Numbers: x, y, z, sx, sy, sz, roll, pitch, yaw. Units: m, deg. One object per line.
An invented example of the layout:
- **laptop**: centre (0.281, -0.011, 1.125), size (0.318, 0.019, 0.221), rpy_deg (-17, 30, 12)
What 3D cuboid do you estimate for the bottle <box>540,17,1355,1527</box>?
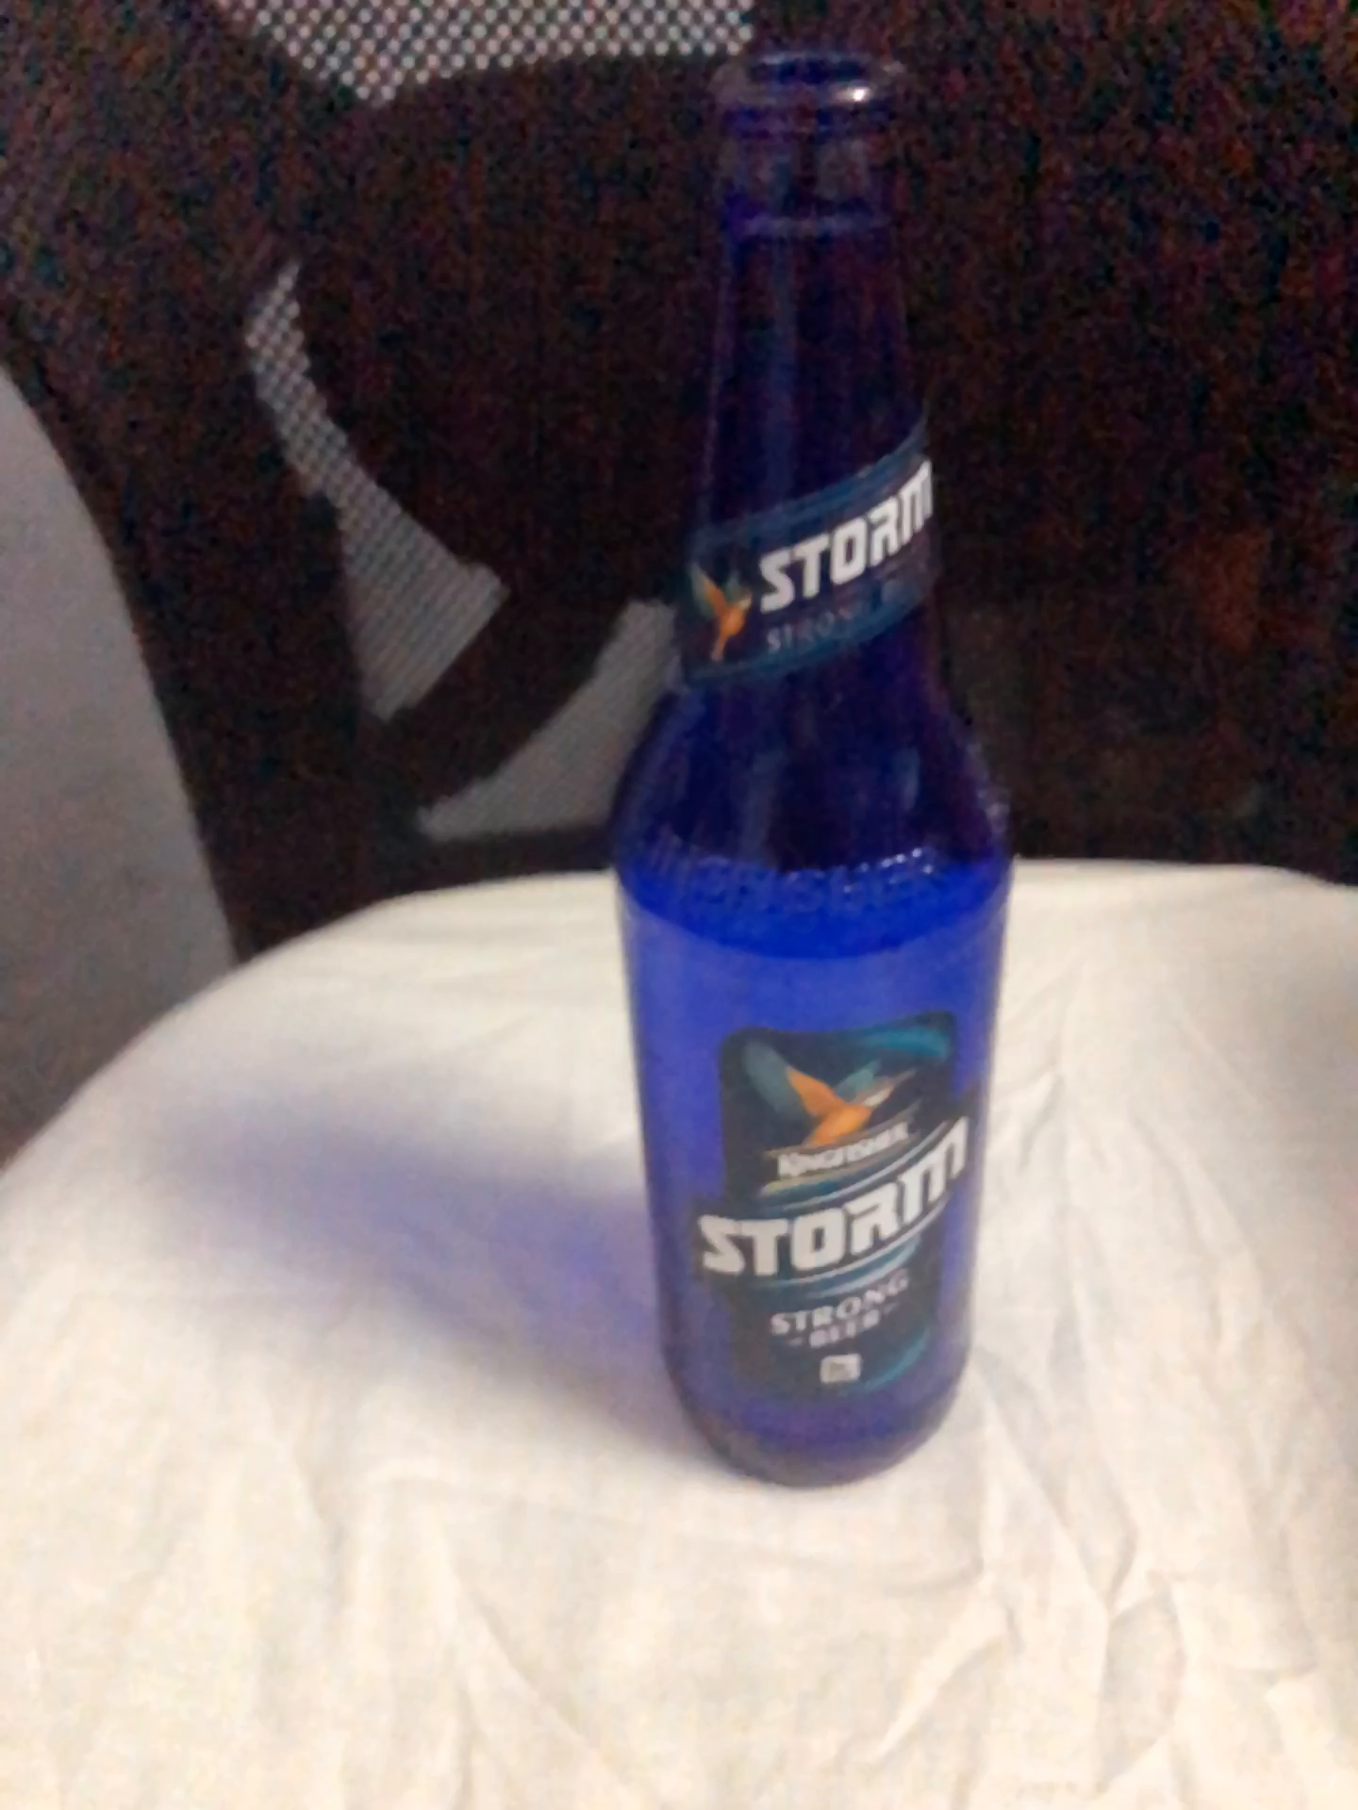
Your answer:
- **bottle**: centre (0.028, 0.005, 0.260), size (0.080, 0.259, 0.070), rpy_deg (-2, 40, -1)
